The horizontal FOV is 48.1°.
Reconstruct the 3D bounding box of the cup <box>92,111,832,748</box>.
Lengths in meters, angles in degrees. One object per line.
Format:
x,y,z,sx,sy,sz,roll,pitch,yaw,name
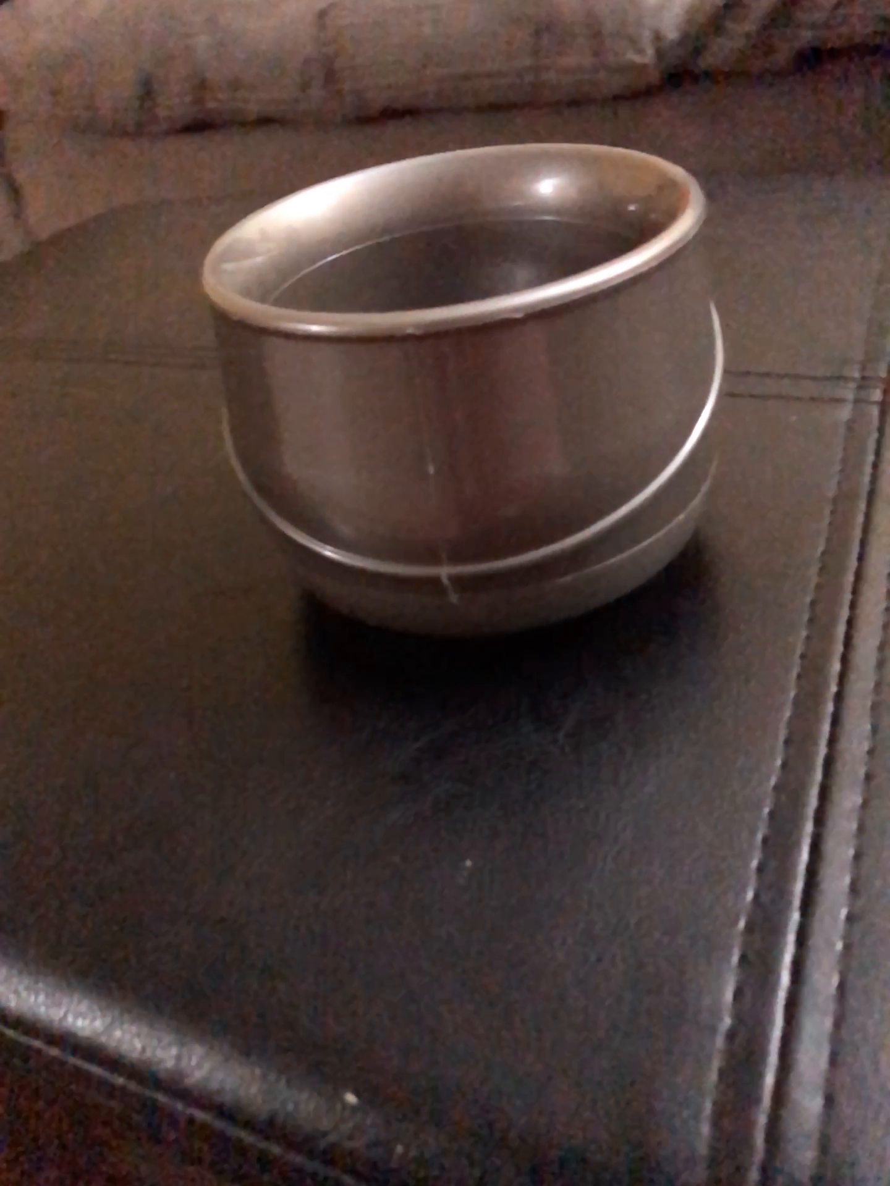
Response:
0.009,-0.039,0.181,0.083,0.066,0.090,-6,37,5,cup
